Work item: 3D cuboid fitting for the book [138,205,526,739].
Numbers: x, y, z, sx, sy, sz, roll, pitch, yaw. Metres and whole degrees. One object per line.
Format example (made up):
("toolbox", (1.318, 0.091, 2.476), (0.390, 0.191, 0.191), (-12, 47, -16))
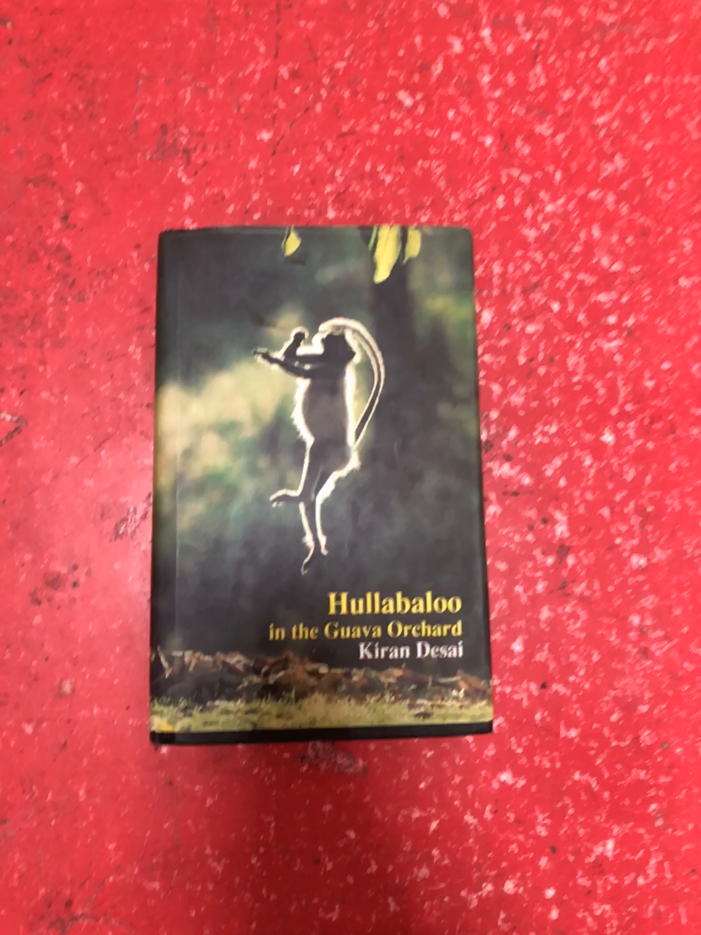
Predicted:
("book", (-0.010, -0.003, 0.353), (0.160, 0.030, 0.230), (-1, 82, -3))
